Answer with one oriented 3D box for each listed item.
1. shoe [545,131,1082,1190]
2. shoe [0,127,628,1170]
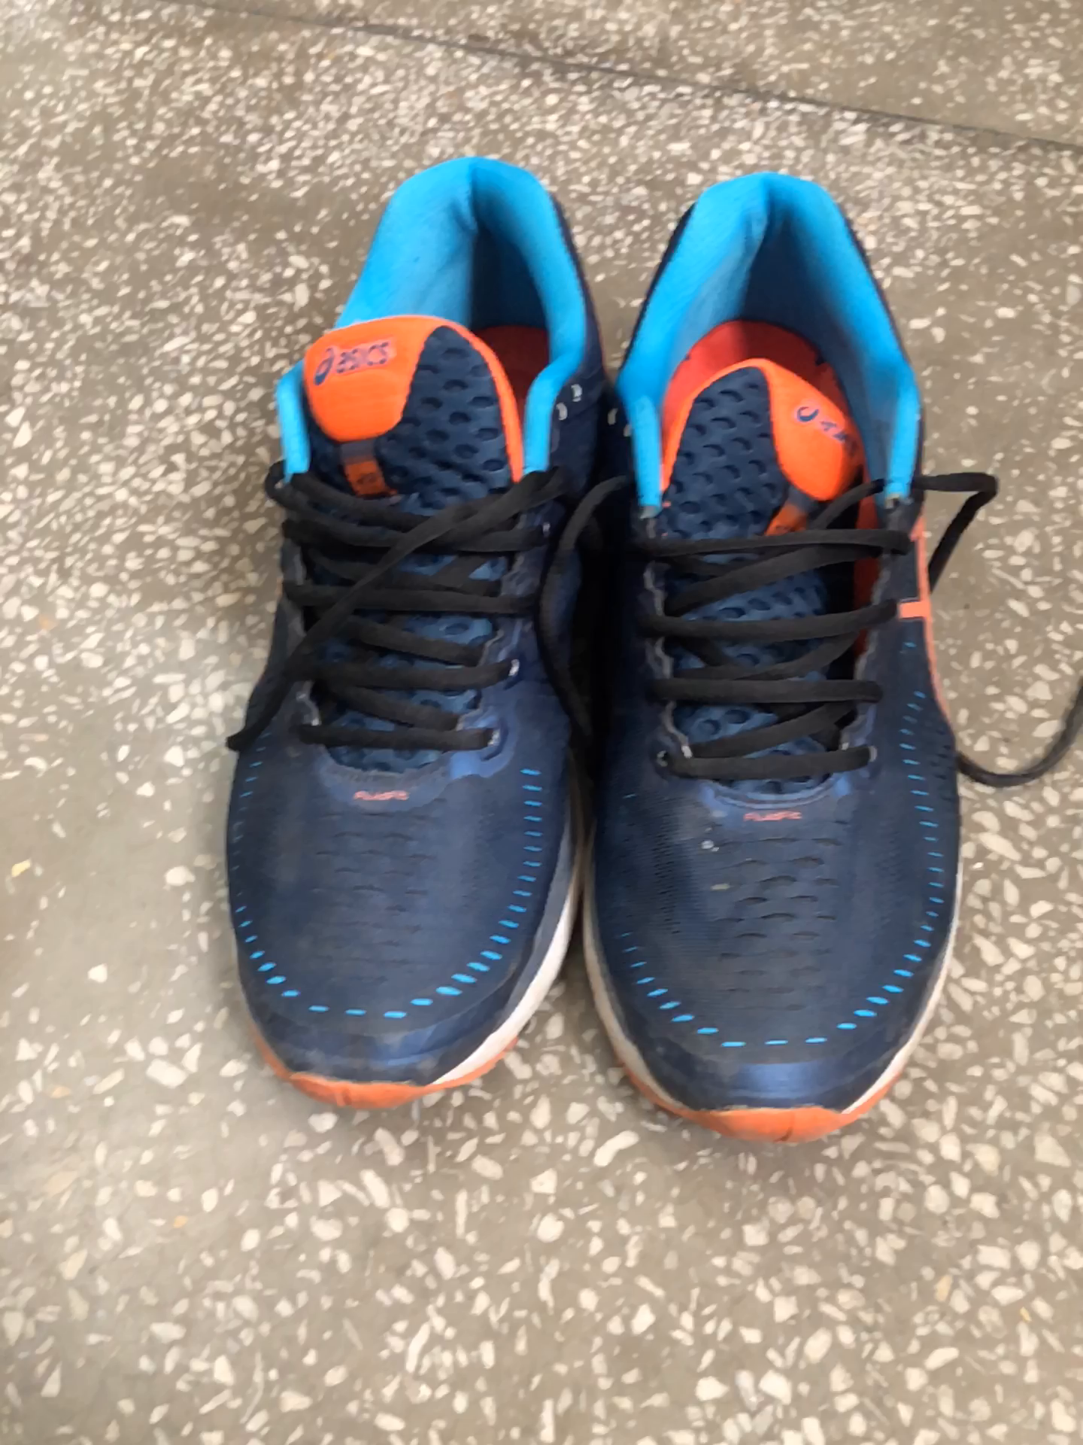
[{"bbox_3d":[0.068,-0.033,0.338,0.118,0.100,0.288,1,58,3],"label":"shoe"},{"bbox_3d":[-0.041,-0.037,0.345,0.118,0.100,0.288,3,58,4],"label":"shoe"}]
